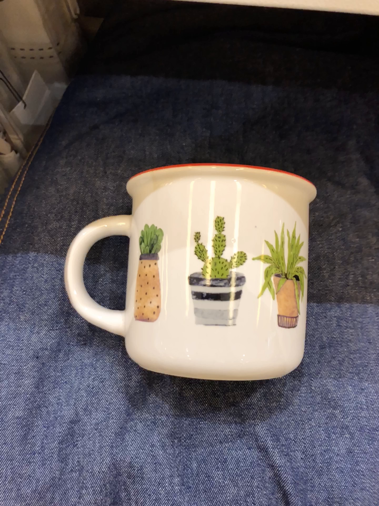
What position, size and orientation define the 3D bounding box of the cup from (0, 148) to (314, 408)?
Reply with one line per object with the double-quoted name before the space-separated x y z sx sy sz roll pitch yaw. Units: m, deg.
"cup" -0.020 0.015 0.215 0.140 0.090 0.100 2 79 2
